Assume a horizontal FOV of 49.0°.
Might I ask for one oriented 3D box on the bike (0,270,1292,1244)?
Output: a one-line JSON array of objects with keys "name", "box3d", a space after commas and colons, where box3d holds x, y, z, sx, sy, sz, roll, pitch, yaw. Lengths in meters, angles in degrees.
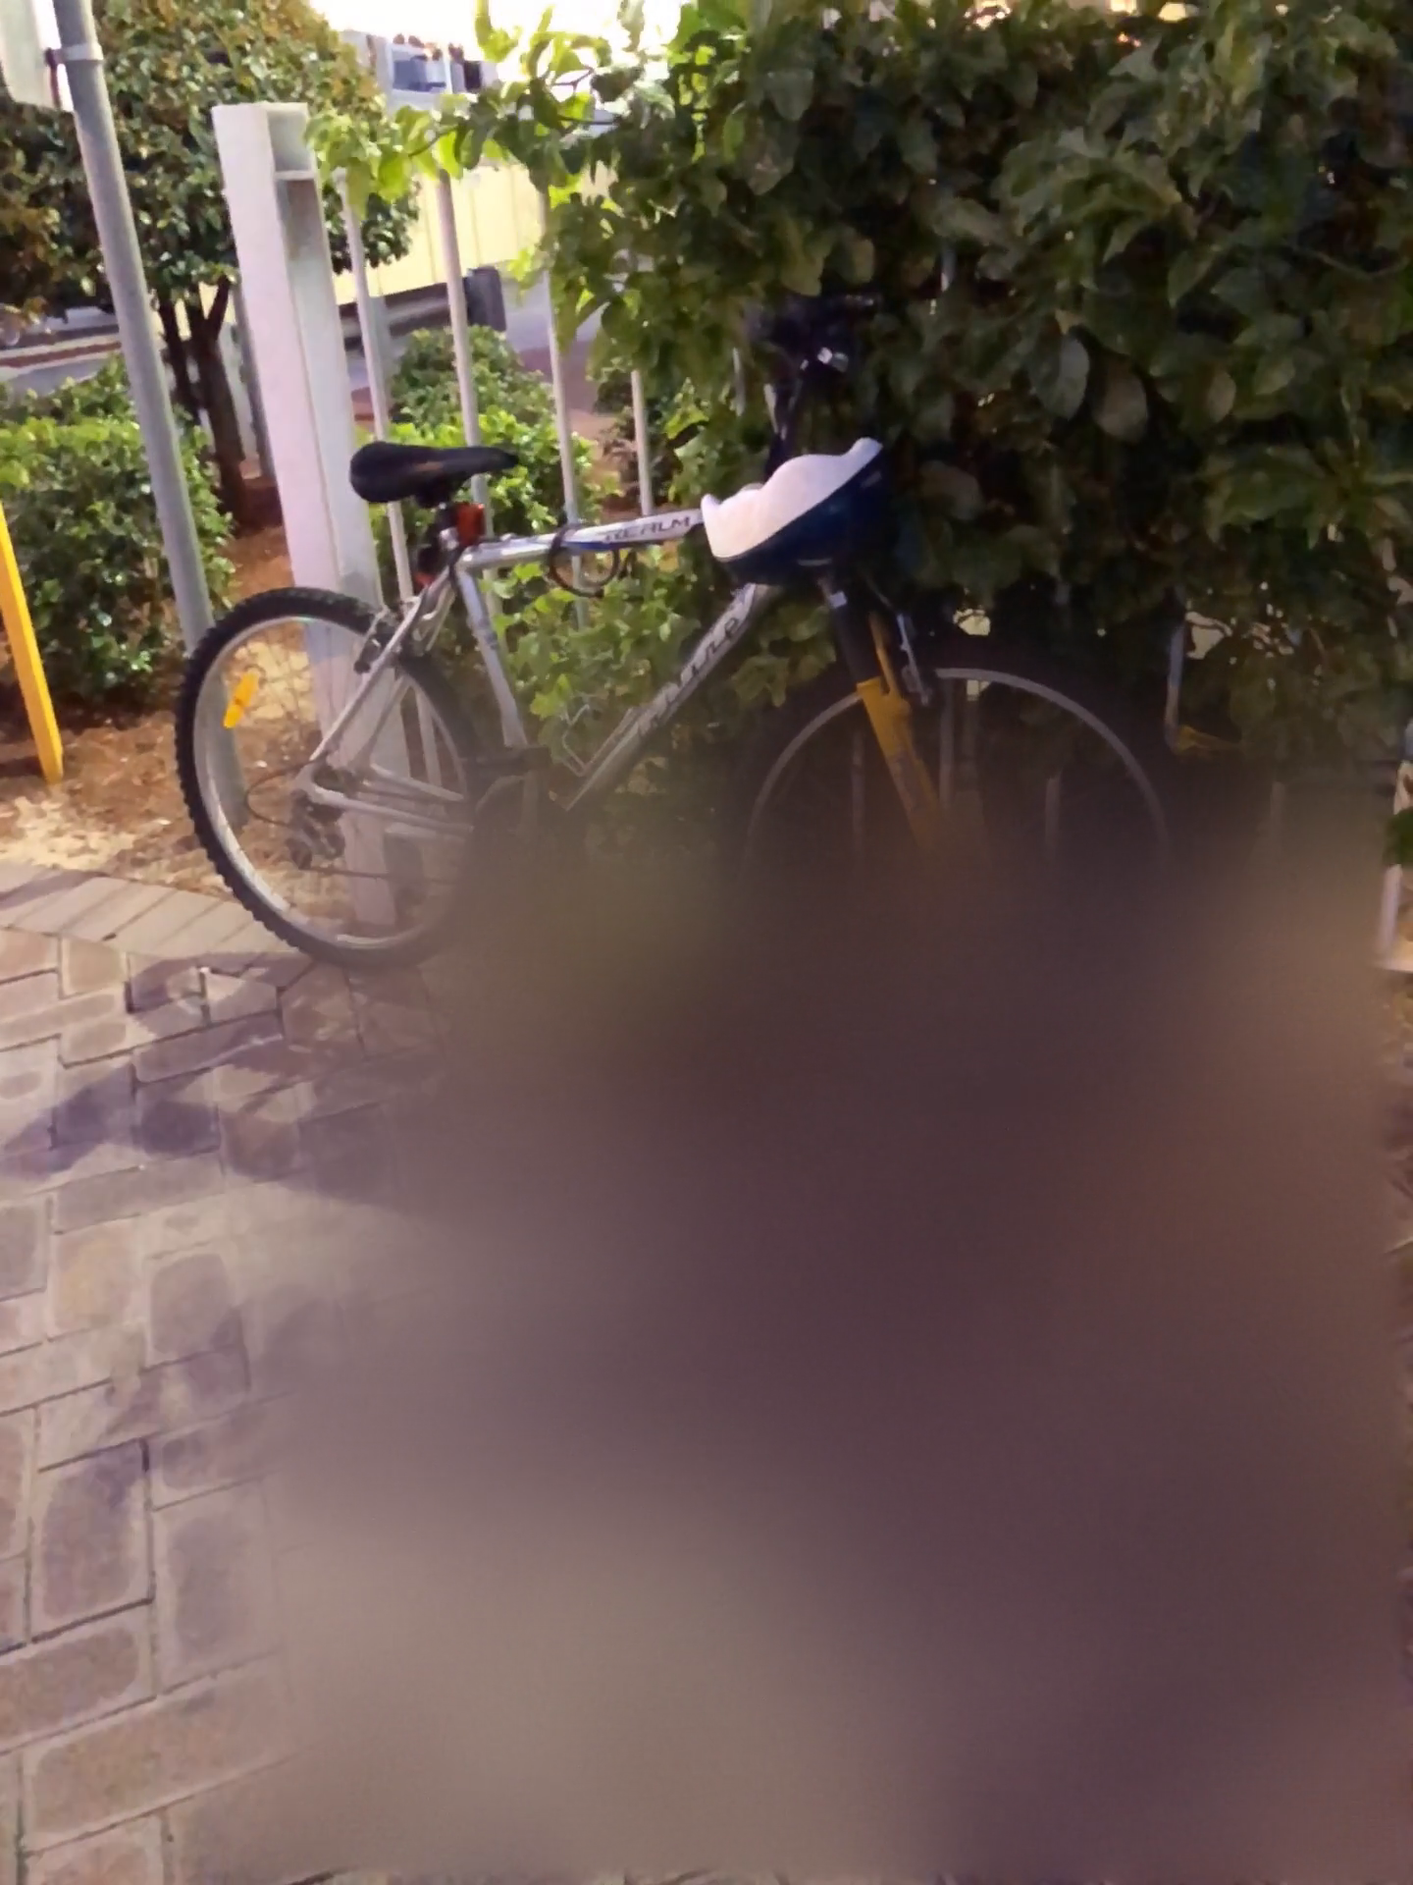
[{"name": "bike", "box3d": [-0.153, -0.339, 2.157, 1.693, 0.995, 0.554, 9, 28, 25]}]
